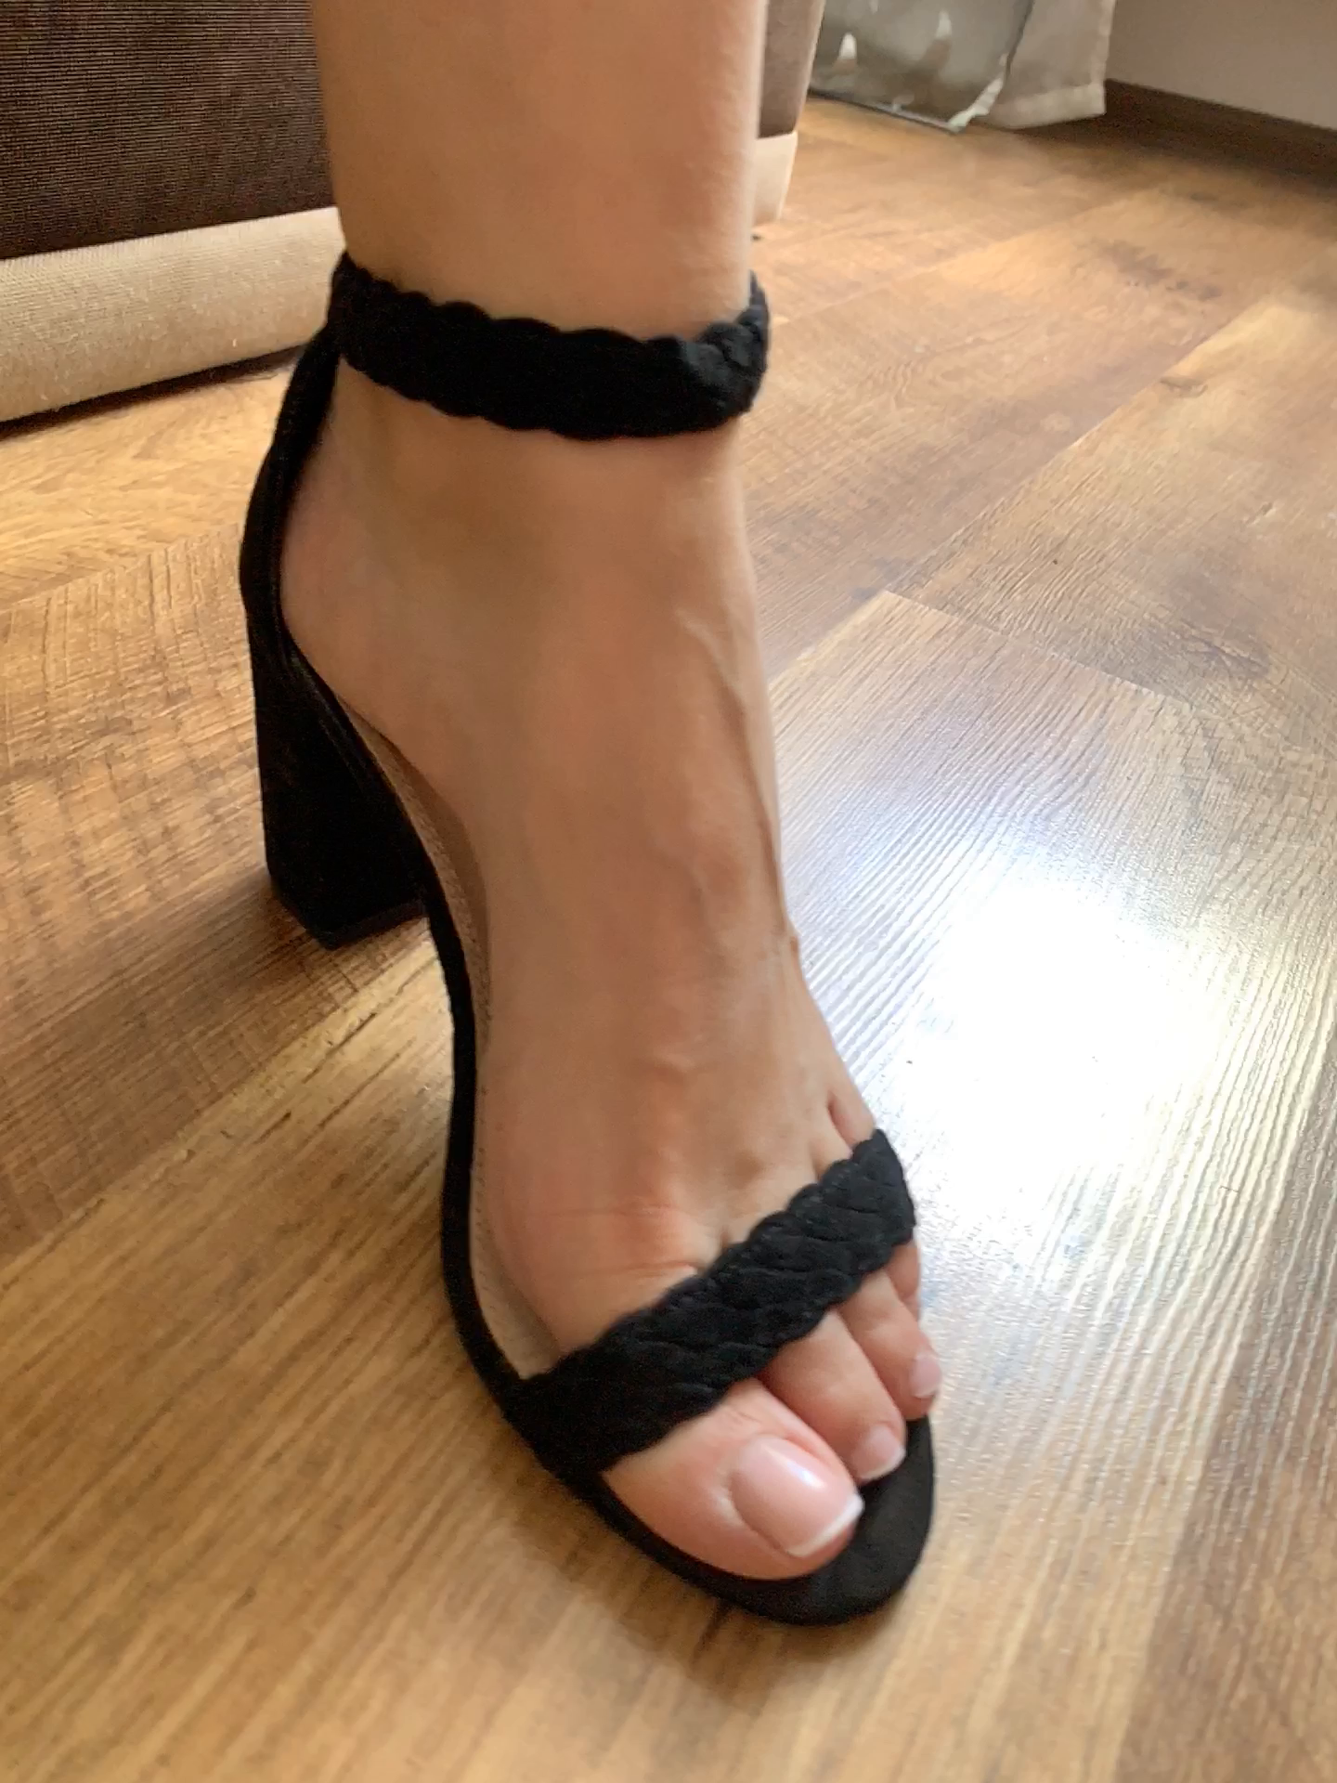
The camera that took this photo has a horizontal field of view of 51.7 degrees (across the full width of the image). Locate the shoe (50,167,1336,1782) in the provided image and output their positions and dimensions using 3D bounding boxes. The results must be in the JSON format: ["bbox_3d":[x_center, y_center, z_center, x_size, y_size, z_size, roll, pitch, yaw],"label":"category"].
[{"bbox_3d":[-0.018,-0.011,0.235,0.090,0.149,0.231,-16,44,-30],"label":"shoe"}]
